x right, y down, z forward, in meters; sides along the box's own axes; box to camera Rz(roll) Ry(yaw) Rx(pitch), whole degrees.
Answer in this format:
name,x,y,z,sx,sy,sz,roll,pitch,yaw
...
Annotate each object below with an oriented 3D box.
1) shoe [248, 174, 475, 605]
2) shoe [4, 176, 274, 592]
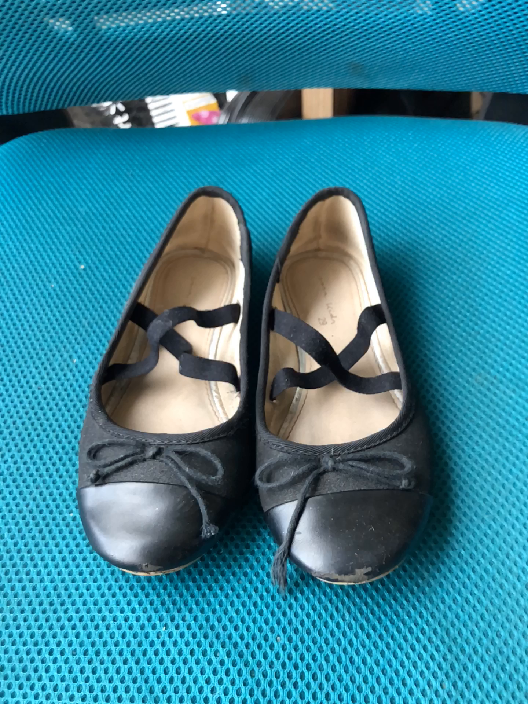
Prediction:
name,x,y,z,sx,sy,sz,roll,pitch,yaw
shoe,0.032,0.003,0.258,0.068,0.050,0.191,-1,52,3
shoe,-0.040,0.001,0.271,0.080,0.050,0.194,0,52,4
